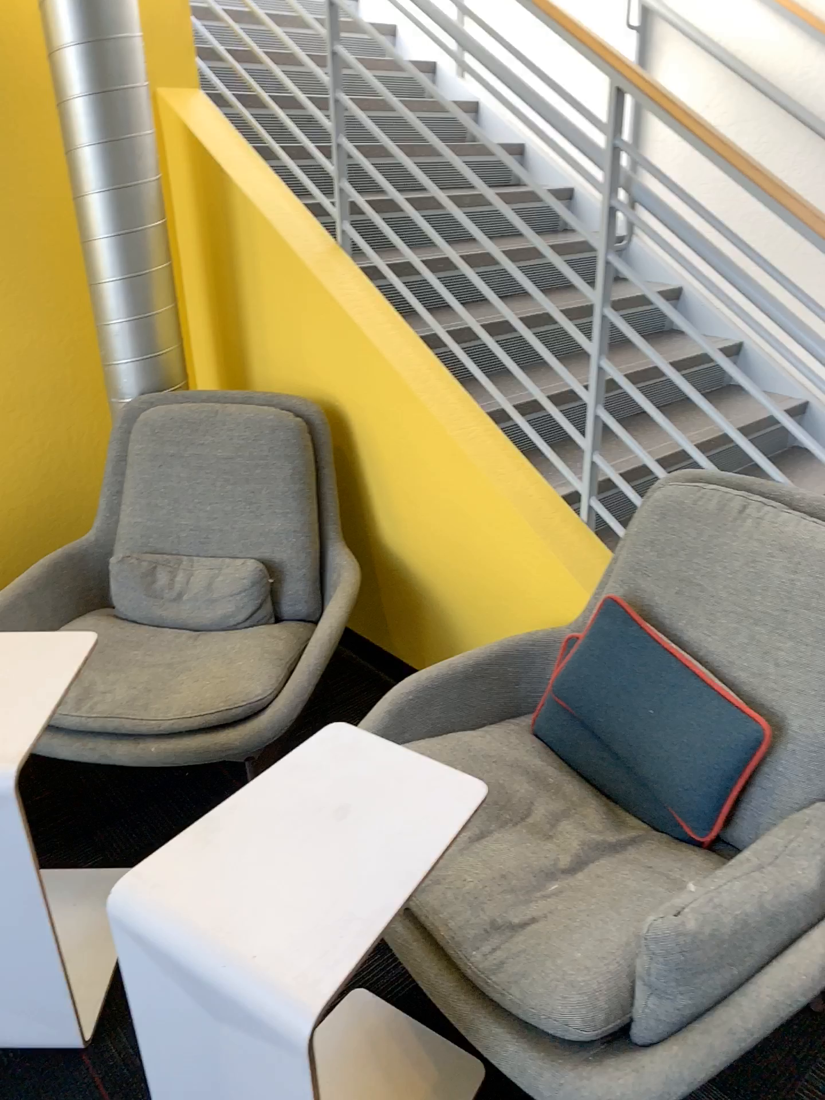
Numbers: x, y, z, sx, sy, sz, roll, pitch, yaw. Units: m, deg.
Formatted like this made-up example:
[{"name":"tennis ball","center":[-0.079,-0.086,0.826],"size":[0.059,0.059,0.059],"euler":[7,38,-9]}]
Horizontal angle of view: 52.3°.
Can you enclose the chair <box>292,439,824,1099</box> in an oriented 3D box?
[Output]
[{"name":"chair","center":[0.370,0.402,1.570],"size":[0.880,0.945,0.874],"euler":[-11,24,-28]}]

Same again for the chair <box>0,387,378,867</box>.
[{"name":"chair","center":[-0.630,0.141,2.325],"size":[0.890,1.015,0.844],"euler":[1,21,8]}]
